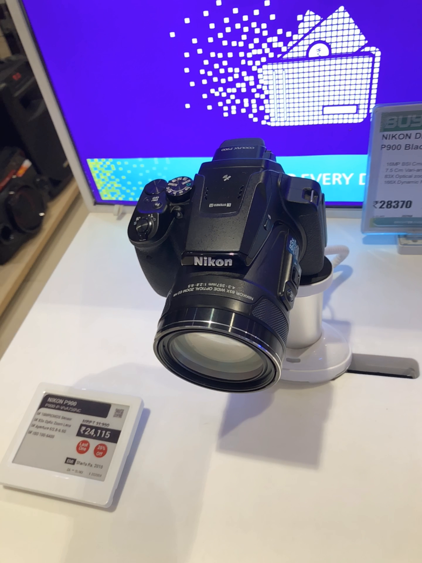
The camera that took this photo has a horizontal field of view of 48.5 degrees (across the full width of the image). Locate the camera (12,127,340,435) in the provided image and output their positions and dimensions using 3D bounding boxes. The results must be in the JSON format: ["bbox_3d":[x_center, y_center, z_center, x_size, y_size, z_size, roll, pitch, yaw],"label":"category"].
[{"bbox_3d":[-0.001,-0.008,0.276,0.140,0.099,0.141,3,47,14],"label":"camera"}]
